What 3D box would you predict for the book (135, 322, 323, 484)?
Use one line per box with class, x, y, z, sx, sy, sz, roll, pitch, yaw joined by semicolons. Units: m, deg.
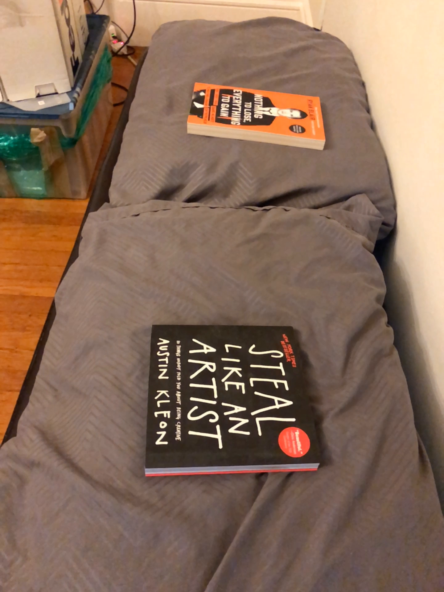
book;0.002;0.095;0.472;0.160;0.020;0.161;1;49;-5
